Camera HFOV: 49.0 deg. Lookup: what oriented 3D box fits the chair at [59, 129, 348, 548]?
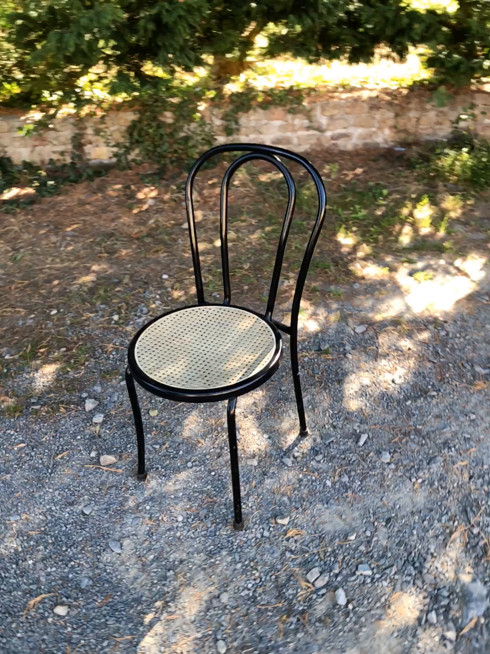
[{"bbox_3d":[-0.057,0.015,1.379,0.430,0.875,0.473,16,36,26],"label":"chair"}]
